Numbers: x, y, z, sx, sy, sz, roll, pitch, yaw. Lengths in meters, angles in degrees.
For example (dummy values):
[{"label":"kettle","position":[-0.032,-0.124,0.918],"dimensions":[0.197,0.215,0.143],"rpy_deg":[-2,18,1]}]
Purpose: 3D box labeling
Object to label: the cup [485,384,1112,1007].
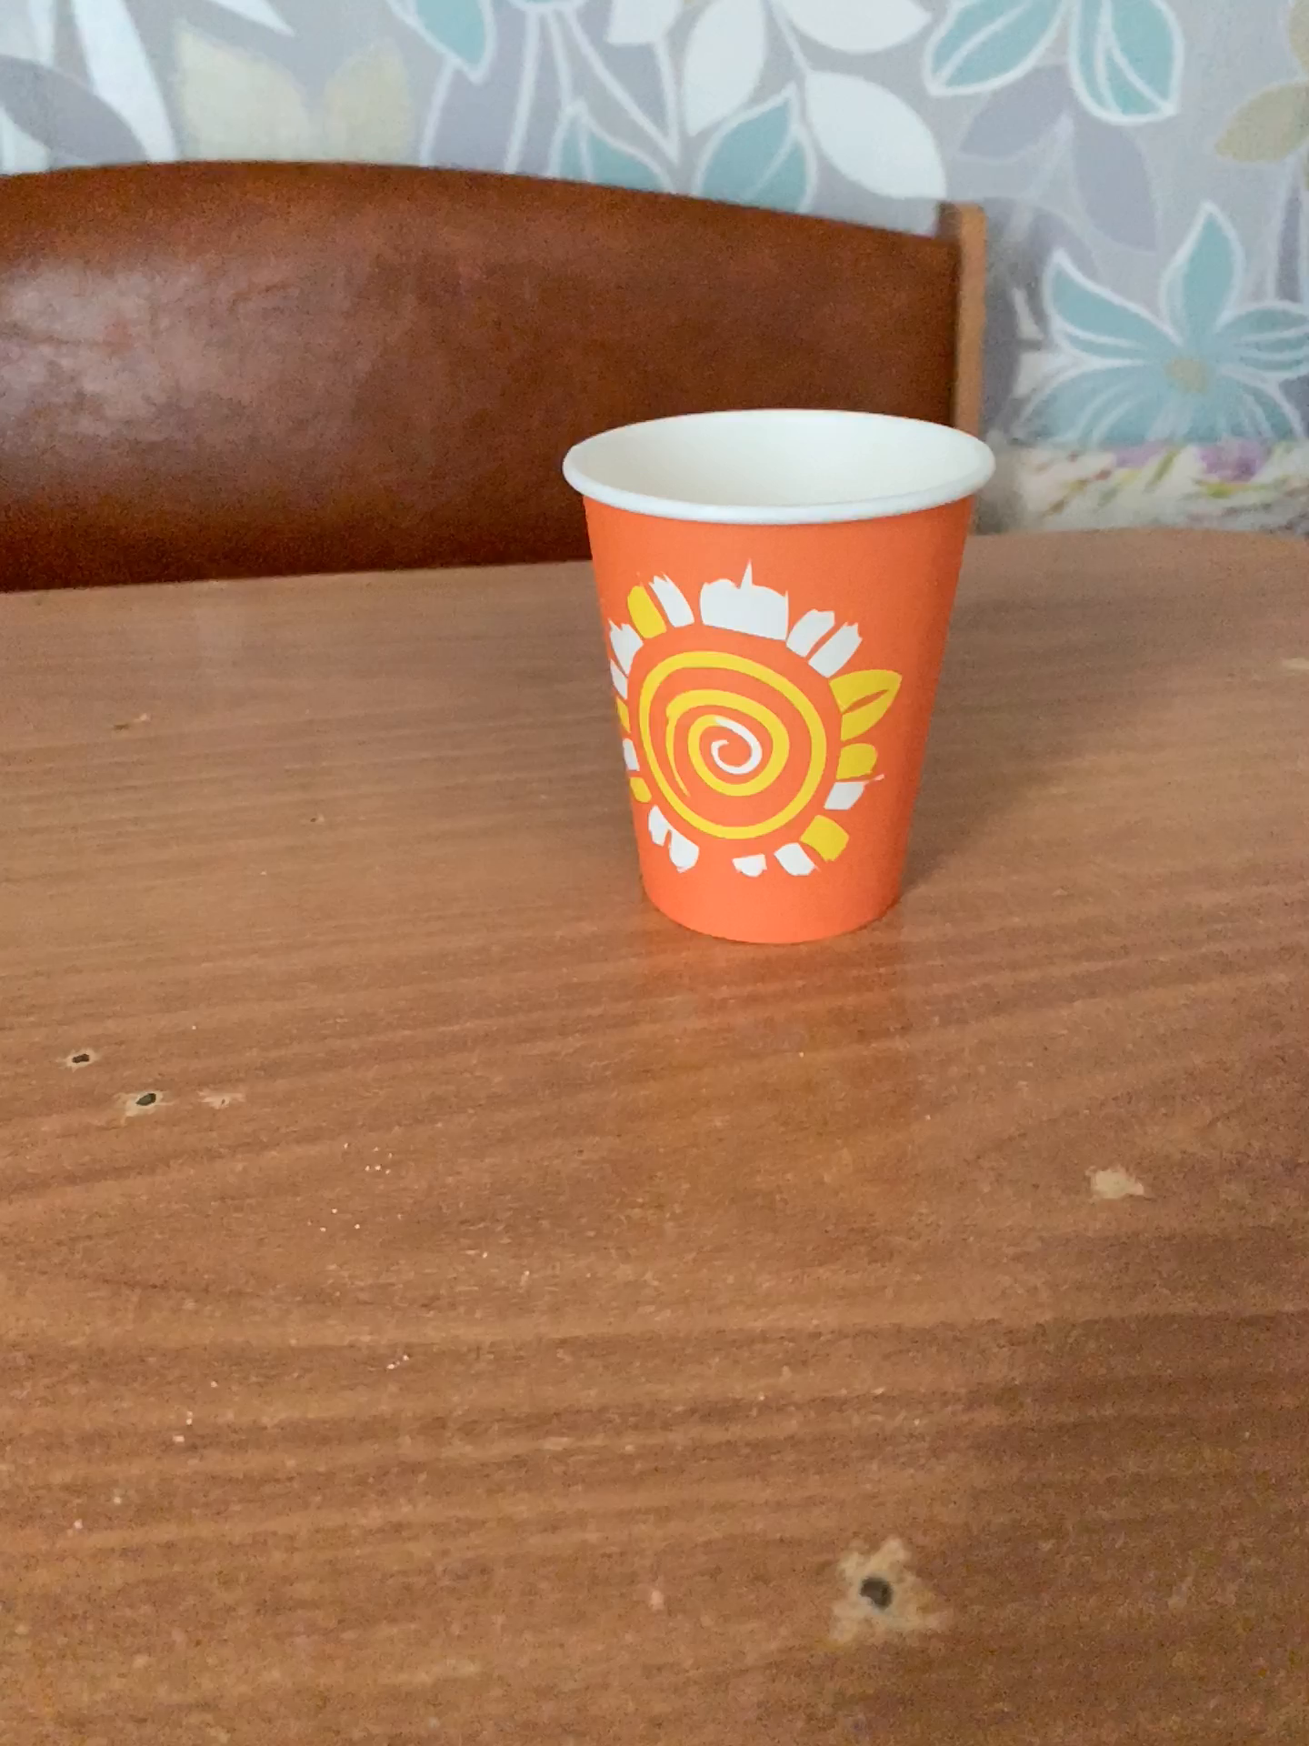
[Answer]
[{"label":"cup","position":[0.029,-0.044,0.283],"dimensions":[0.084,0.087,0.089],"rpy_deg":[-1,30,1]}]
